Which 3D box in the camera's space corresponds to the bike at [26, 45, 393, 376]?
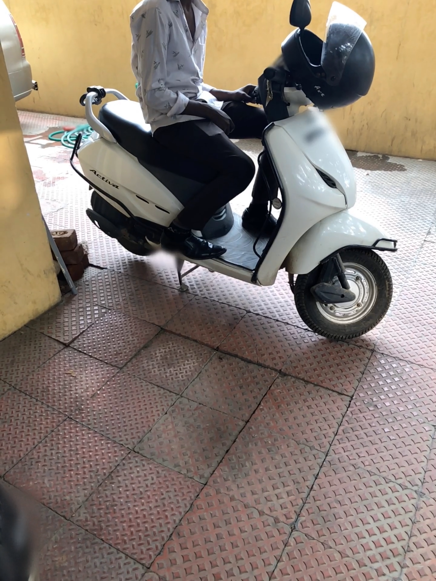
[{"bbox_3d":[-0.039,-0.463,2.285,1.388,1.108,0.661,18,36,25],"label":"bike"}]
